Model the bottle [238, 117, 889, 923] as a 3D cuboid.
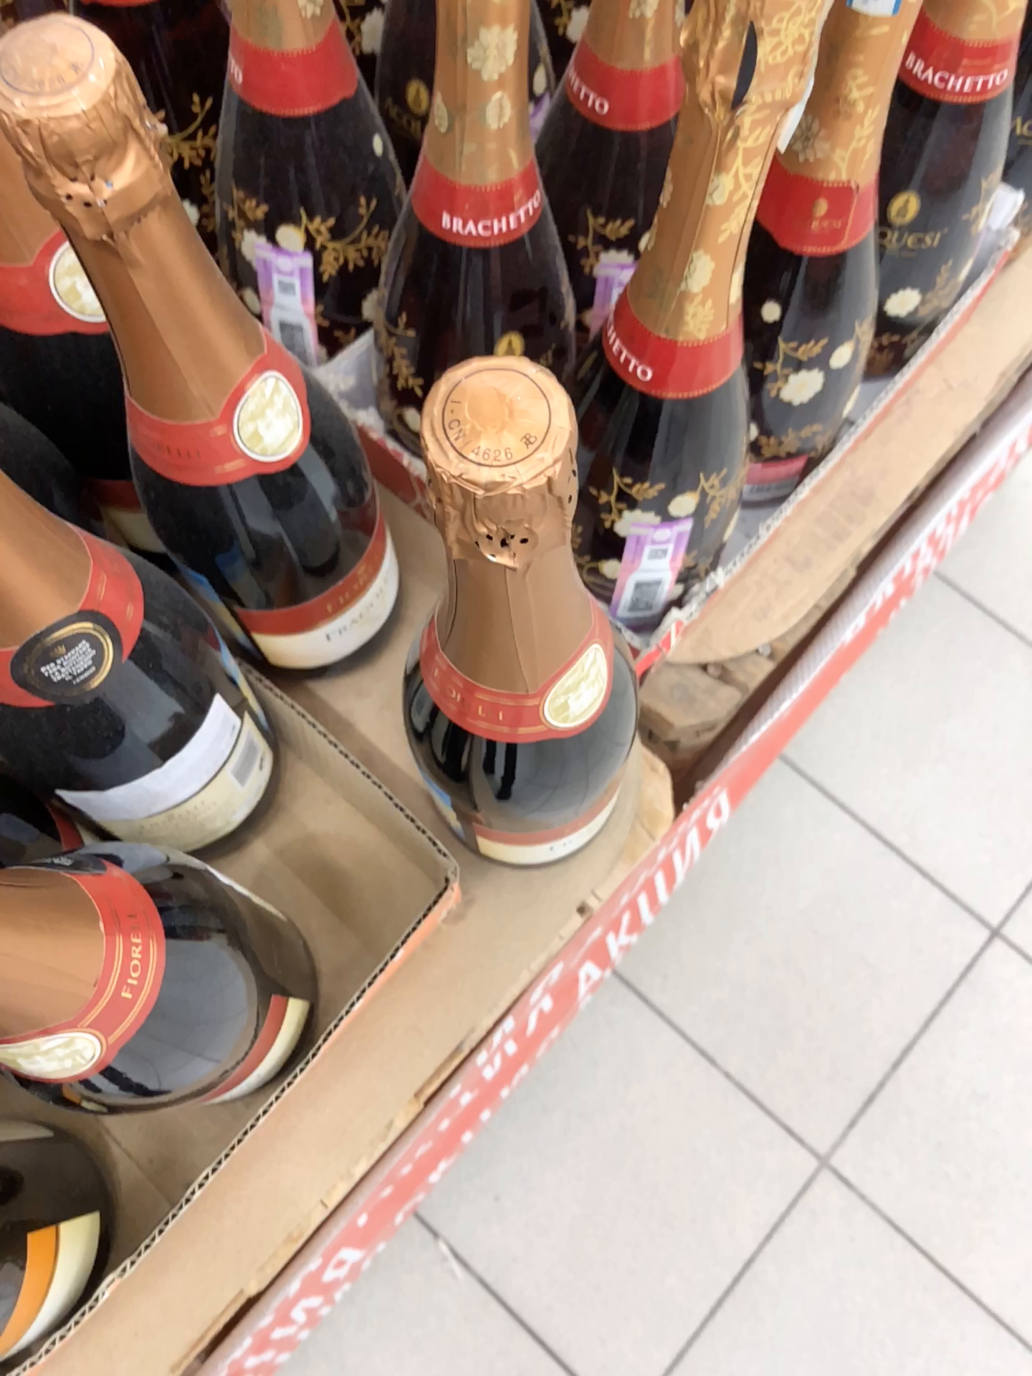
[{"bbox_3d":[0.009,-0.011,0.363,0.090,0.299,0.090,0,70,0],"label":"bottle"}]
